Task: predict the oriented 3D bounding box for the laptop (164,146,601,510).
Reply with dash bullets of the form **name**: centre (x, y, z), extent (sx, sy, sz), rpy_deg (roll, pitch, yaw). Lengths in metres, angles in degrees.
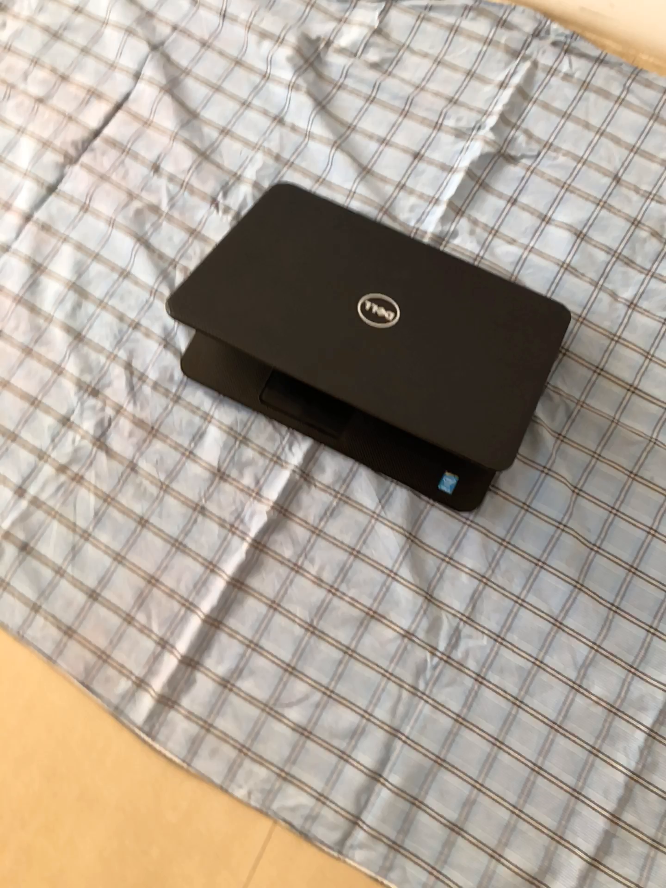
- **laptop**: centre (0.048, -0.116, 0.749), extent (0.350, 0.100, 0.223), rpy_deg (26, 81, 7)
